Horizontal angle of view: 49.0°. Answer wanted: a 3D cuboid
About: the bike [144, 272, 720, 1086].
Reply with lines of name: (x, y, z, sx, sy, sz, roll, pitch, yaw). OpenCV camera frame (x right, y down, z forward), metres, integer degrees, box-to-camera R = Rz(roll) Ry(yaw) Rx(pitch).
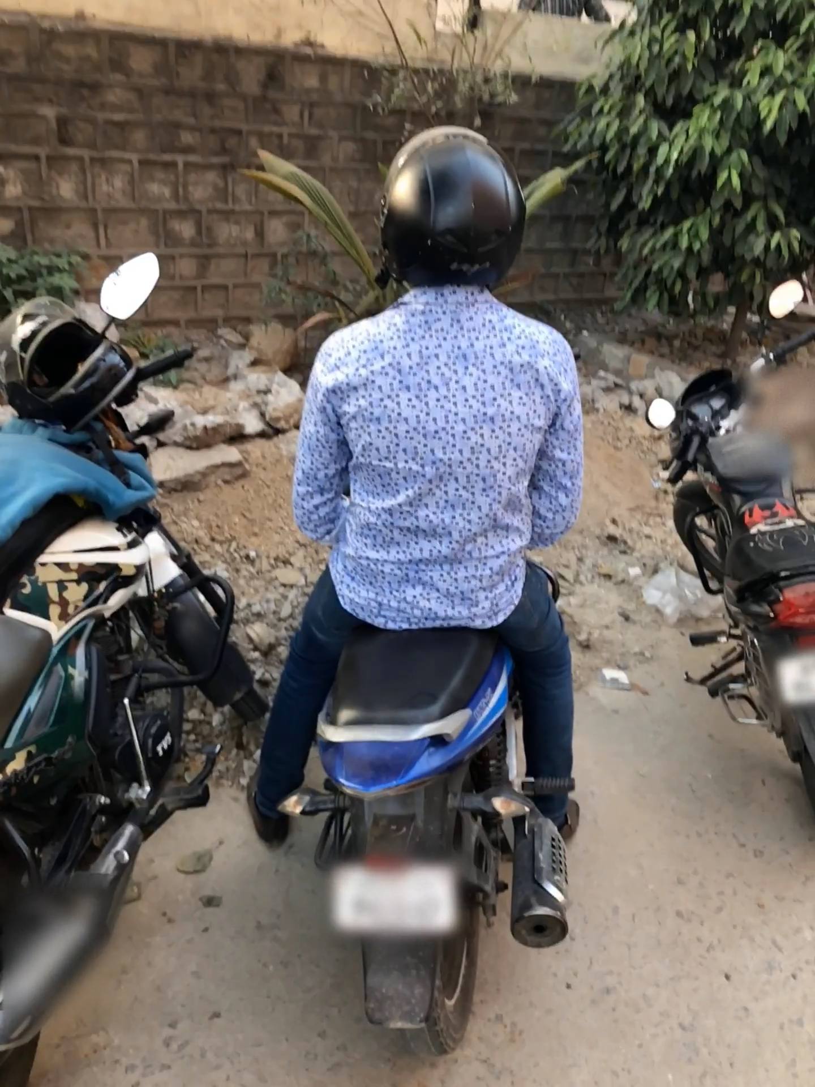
bike: (0.051, 0.147, 2.089, 0.754, 1.076, 1.586, 7, 29, 2)
